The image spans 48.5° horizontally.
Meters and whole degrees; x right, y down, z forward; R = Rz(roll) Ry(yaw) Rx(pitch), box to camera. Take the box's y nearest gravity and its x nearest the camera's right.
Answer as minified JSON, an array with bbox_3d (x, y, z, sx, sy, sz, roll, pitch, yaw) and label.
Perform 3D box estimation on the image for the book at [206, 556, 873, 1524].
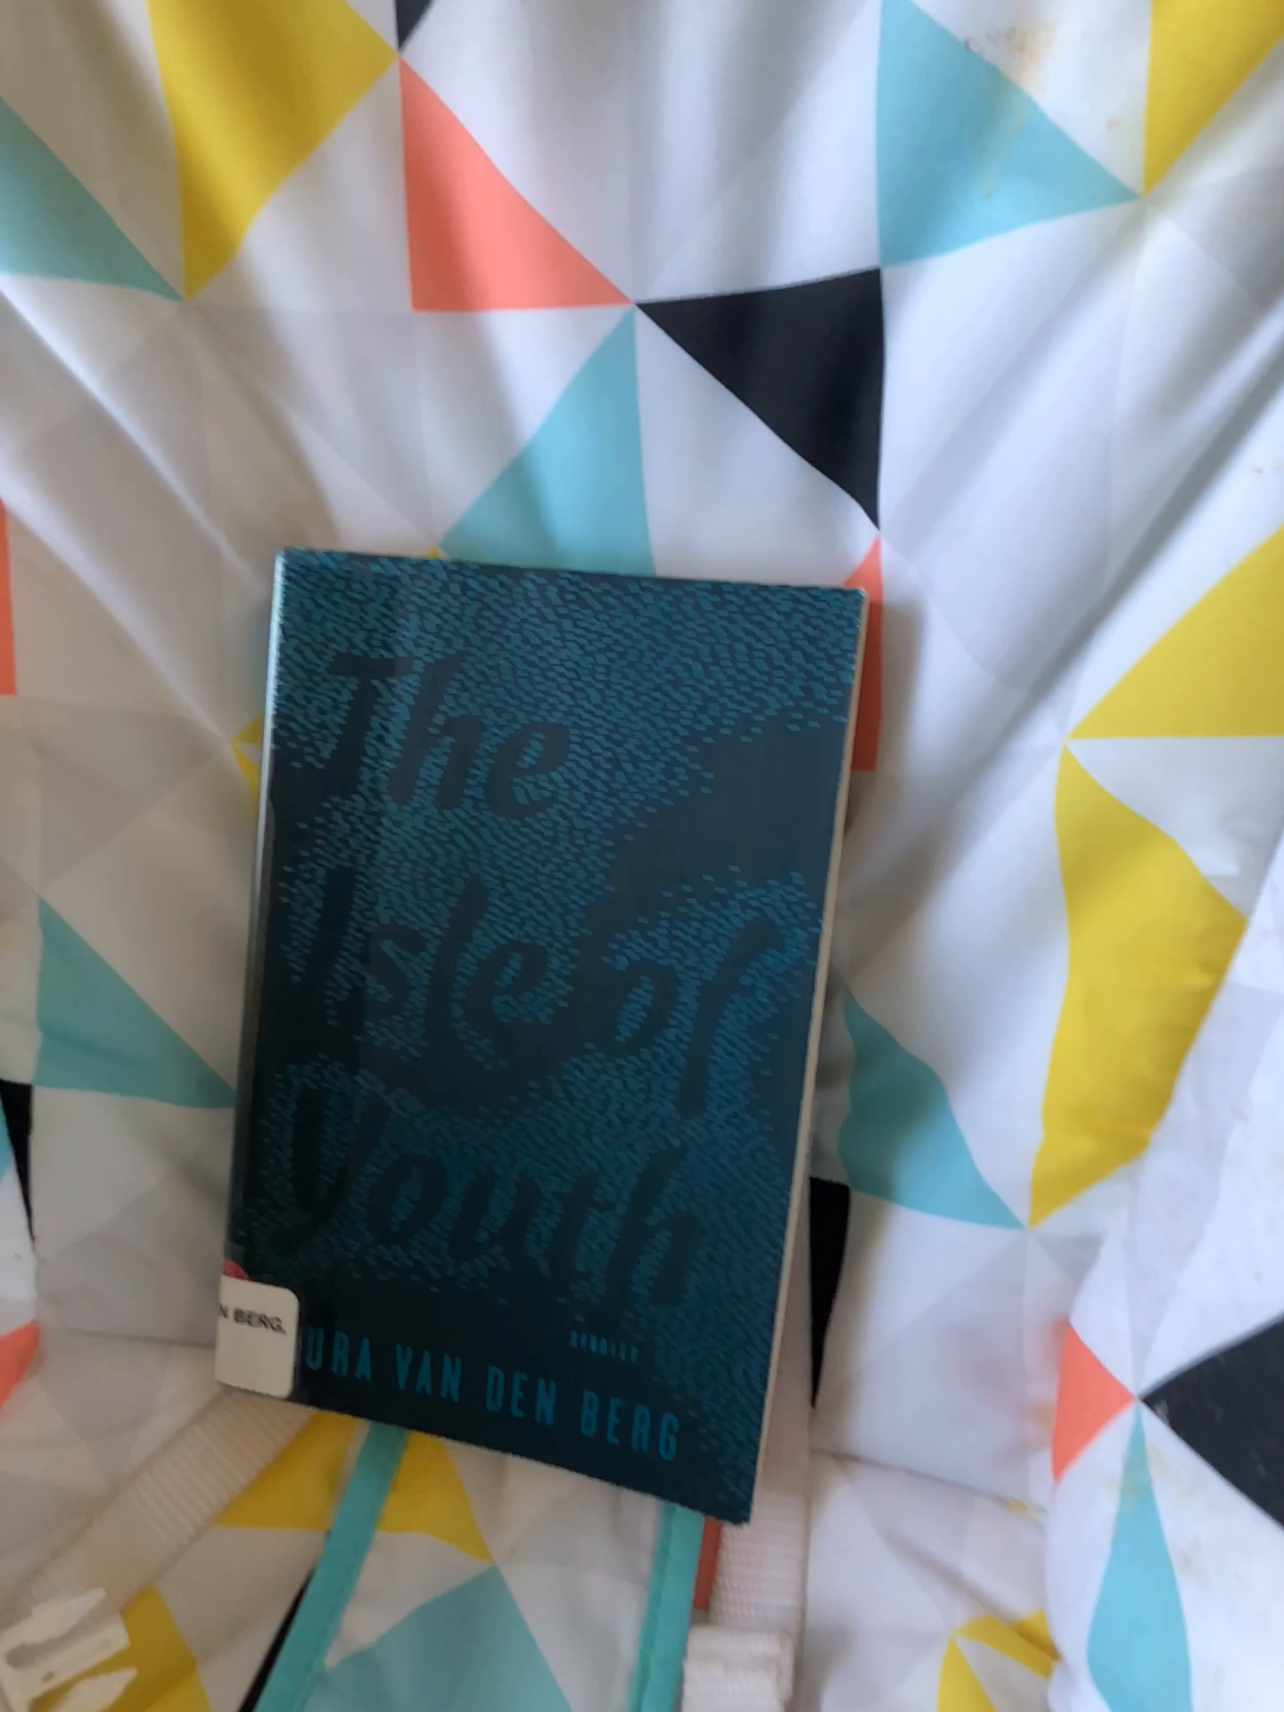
[{"bbox_3d":[-0.025,0.033,0.301,0.124,0.032,0.180,7,97,16],"label":"book"}]
